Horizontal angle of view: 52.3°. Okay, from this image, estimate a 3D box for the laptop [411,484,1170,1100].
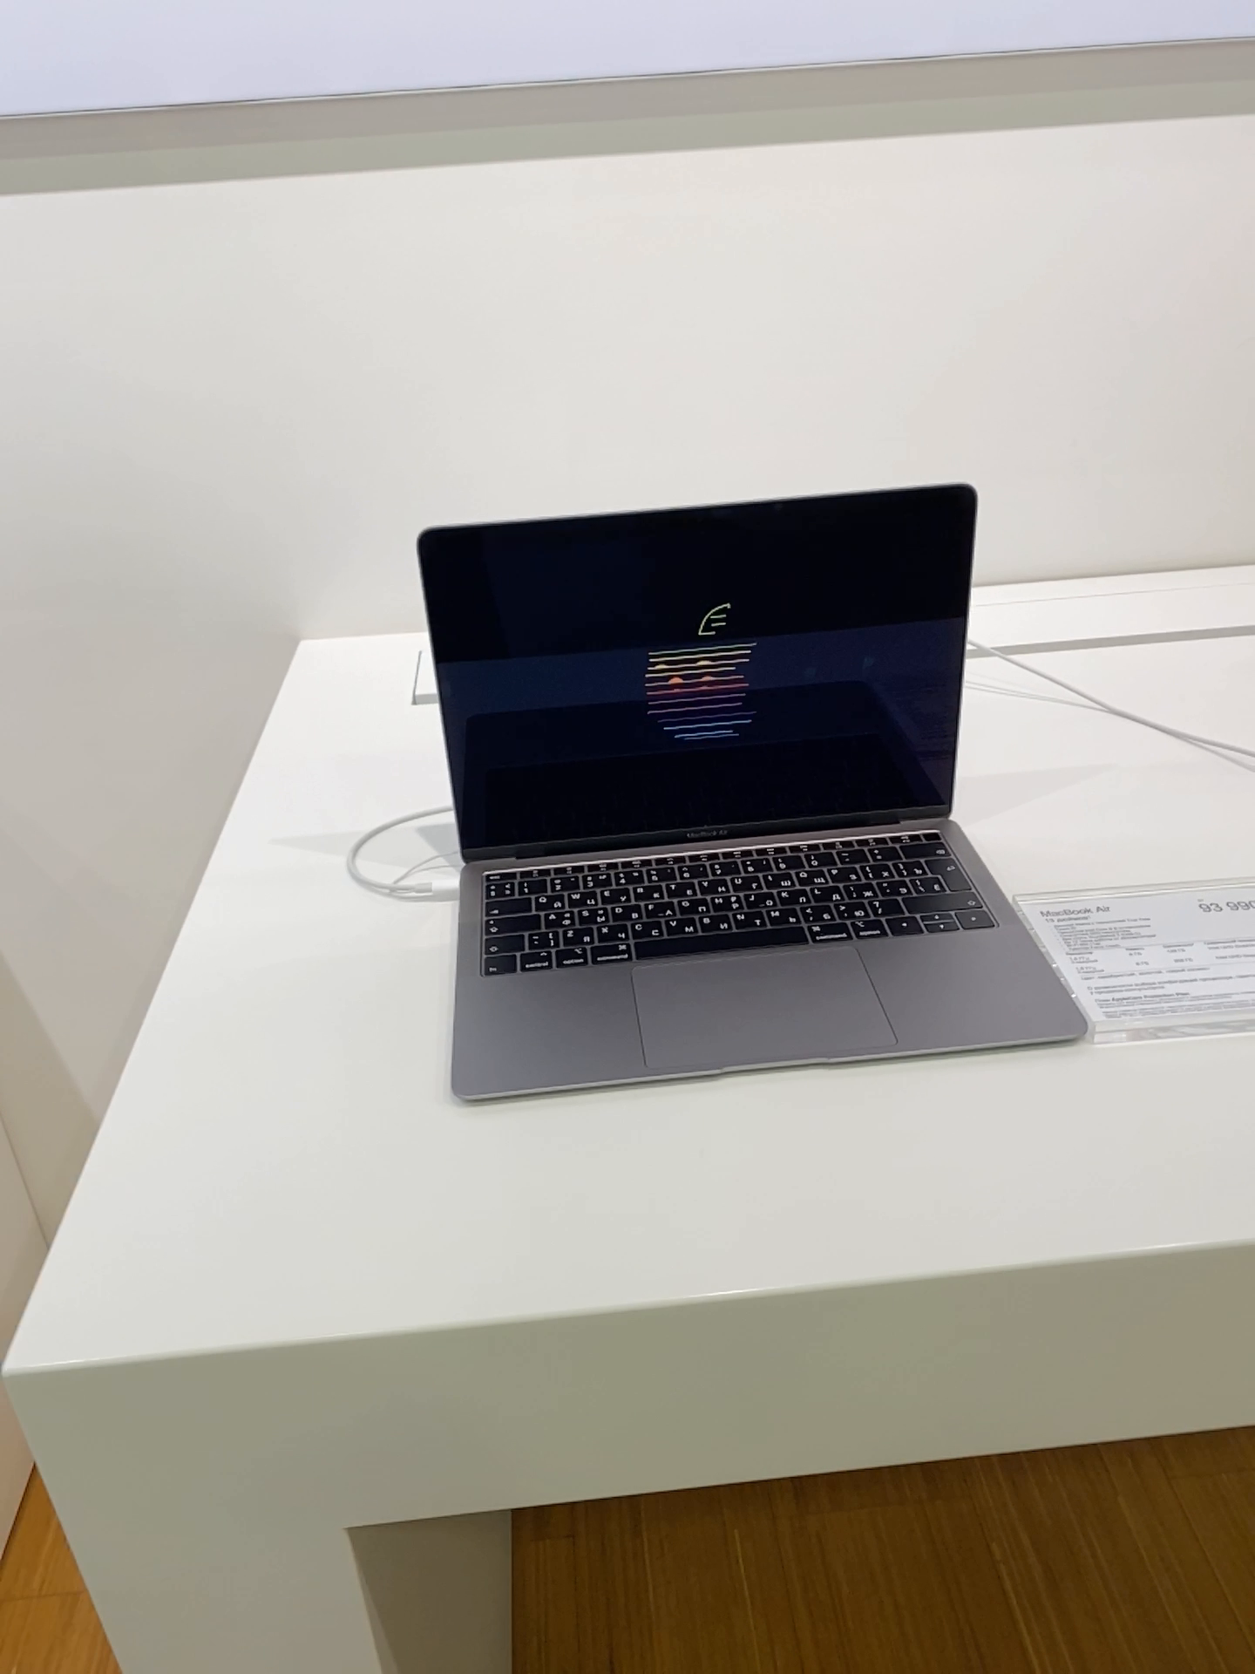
[{"bbox_3d":[0.062,-0.037,0.651,0.301,0.211,0.226,-5,27,-3],"label":"laptop"}]
